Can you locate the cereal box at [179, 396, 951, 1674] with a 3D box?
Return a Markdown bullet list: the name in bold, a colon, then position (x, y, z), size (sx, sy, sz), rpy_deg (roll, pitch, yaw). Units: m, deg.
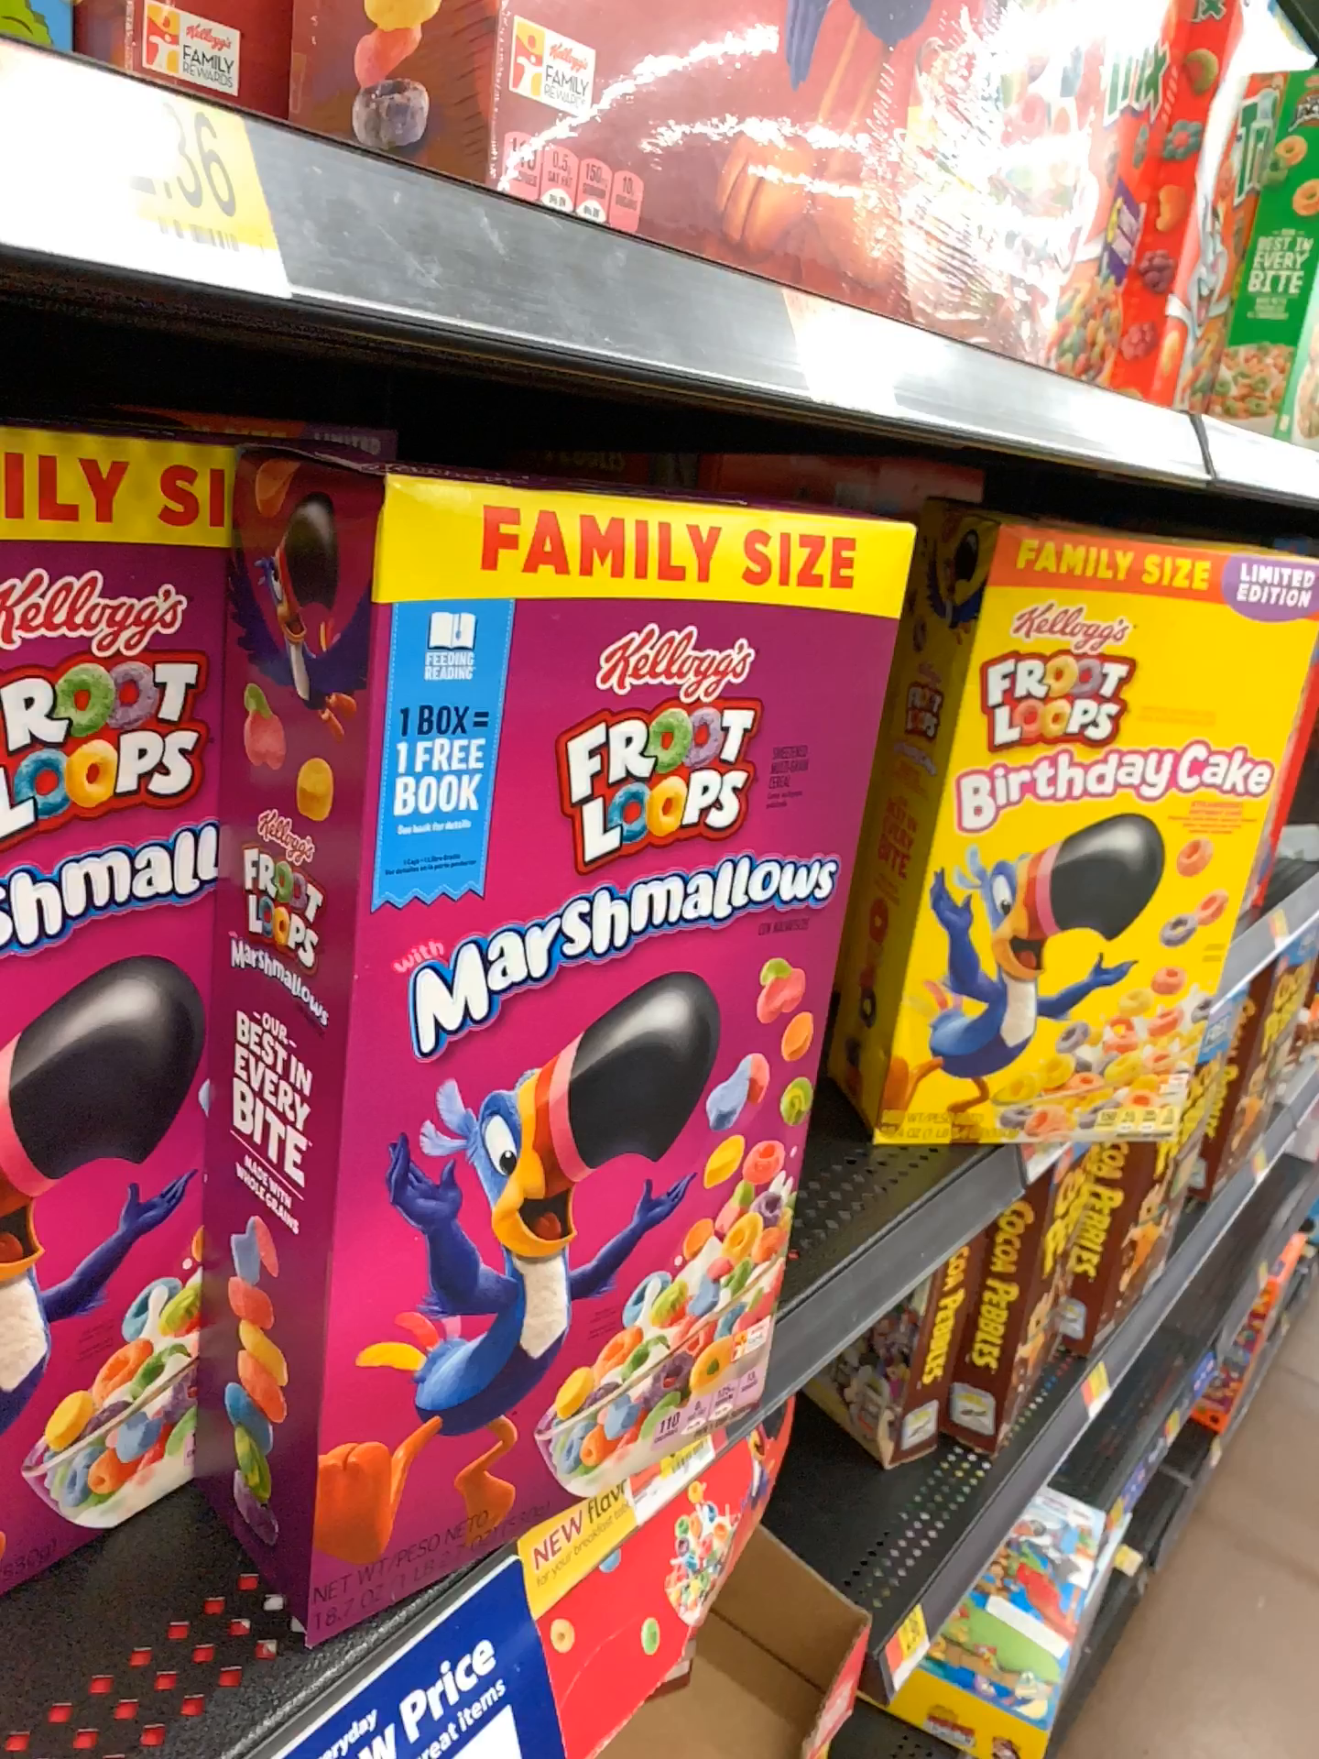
- **cereal box**: position (-0.033, 0.041, 0.429), size (0.200, 0.339, 0.080), rpy_deg (-8, 23, -41)
